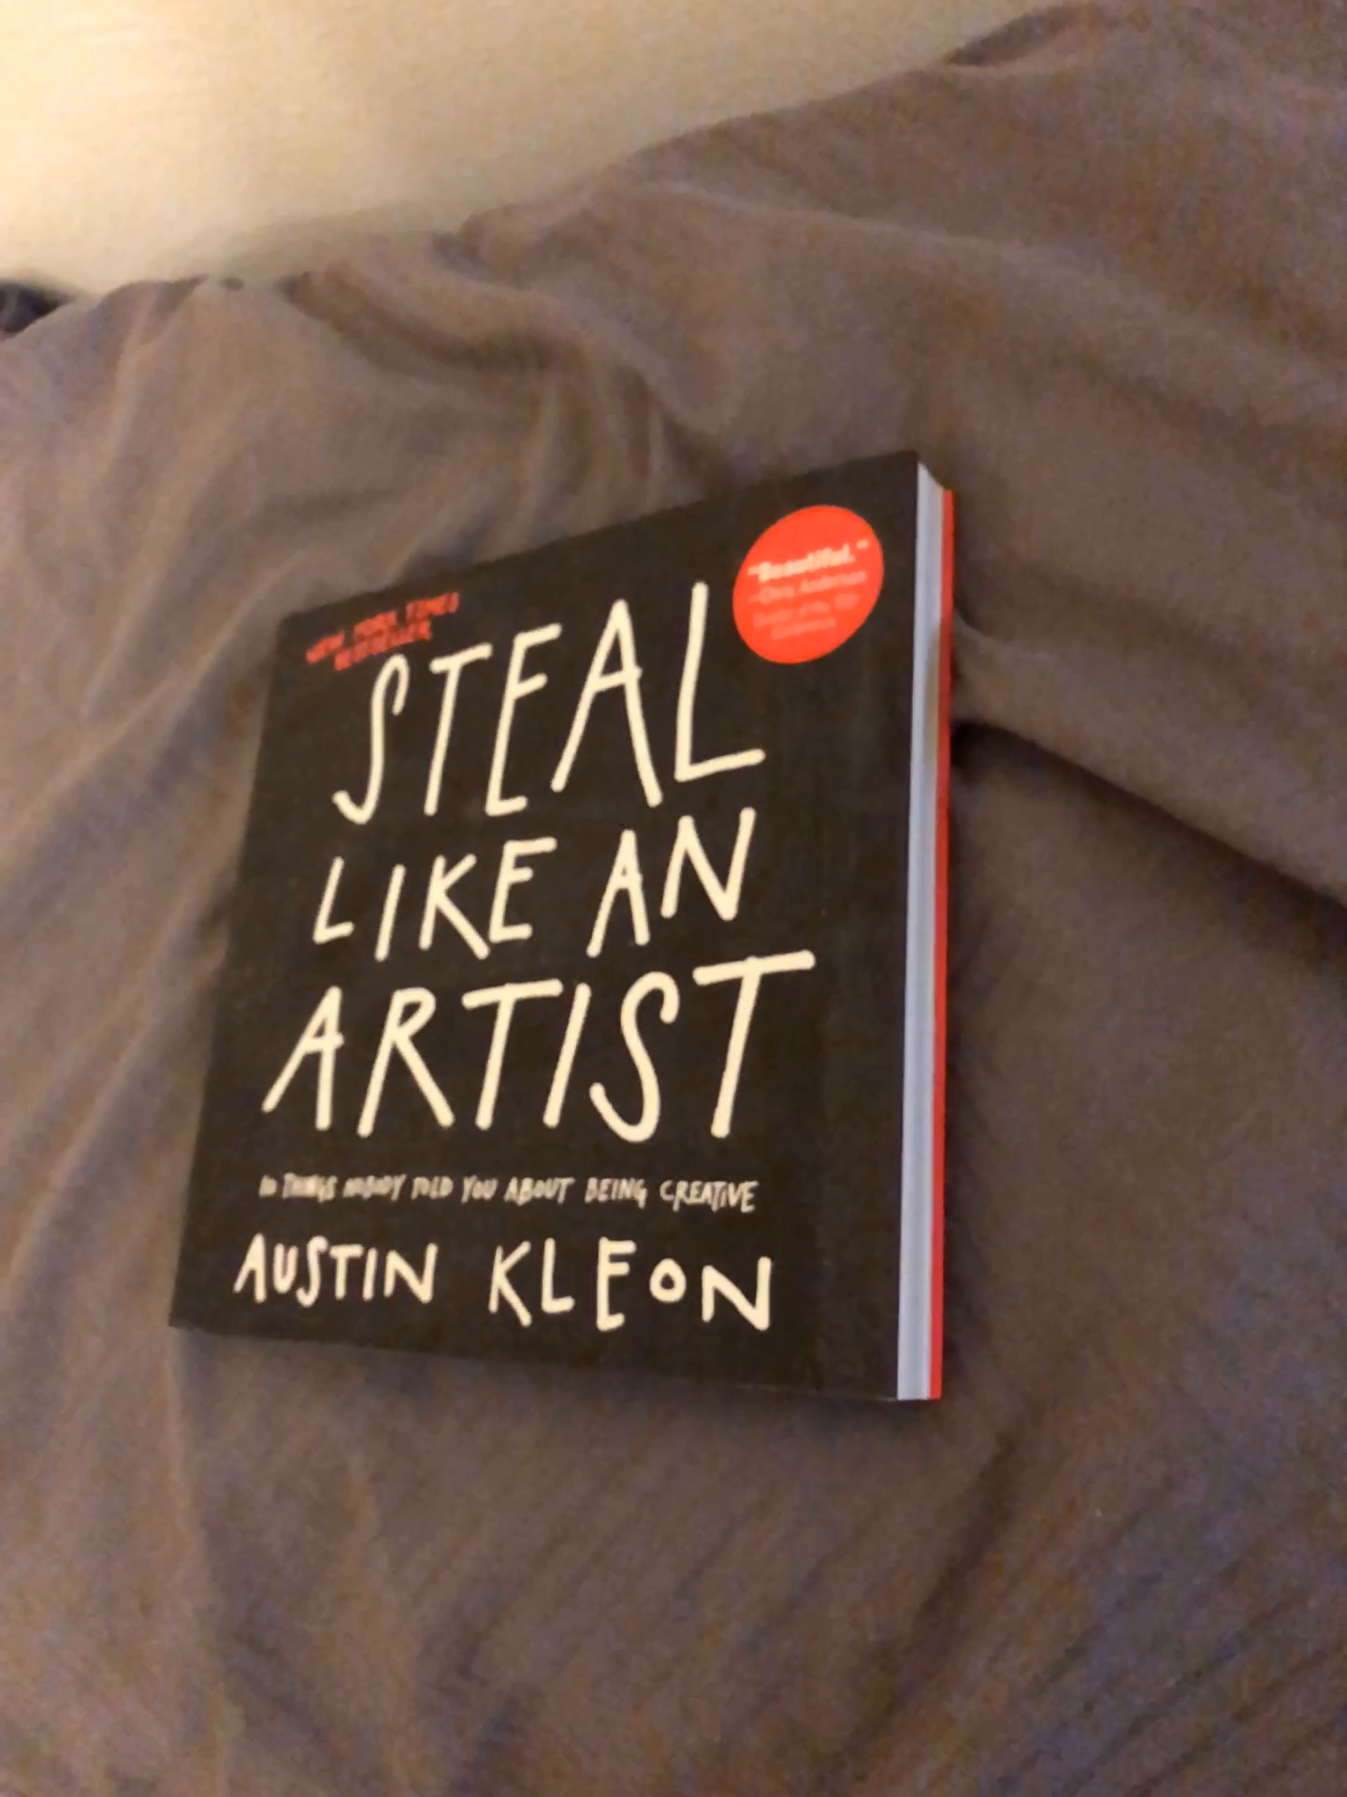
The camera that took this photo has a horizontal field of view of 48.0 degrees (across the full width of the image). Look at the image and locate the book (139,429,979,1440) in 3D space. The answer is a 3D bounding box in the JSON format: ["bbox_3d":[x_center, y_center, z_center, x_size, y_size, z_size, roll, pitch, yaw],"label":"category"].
[{"bbox_3d":[-0.024,0.007,0.281,0.160,0.020,0.160,-5,72,30],"label":"book"}]
